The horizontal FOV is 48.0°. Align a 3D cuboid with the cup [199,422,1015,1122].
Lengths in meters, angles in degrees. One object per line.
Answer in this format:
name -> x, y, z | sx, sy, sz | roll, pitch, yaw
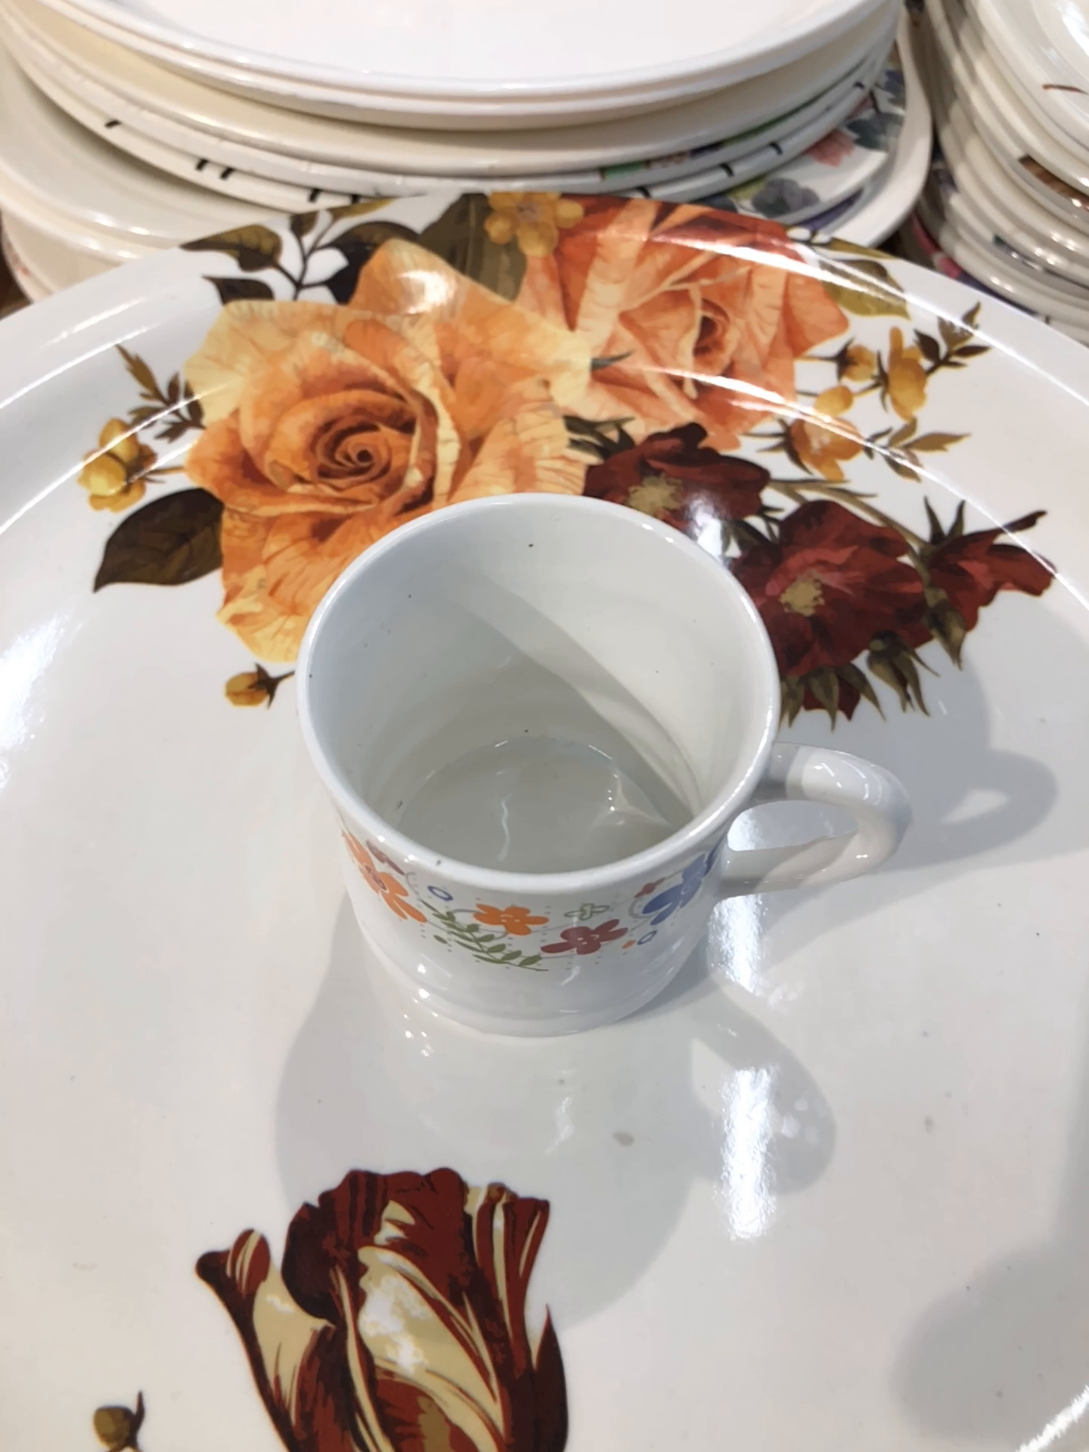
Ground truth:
cup -> 0.011, 0.011, 0.201 | 0.100, 0.080, 0.070 | 9, 58, 2
